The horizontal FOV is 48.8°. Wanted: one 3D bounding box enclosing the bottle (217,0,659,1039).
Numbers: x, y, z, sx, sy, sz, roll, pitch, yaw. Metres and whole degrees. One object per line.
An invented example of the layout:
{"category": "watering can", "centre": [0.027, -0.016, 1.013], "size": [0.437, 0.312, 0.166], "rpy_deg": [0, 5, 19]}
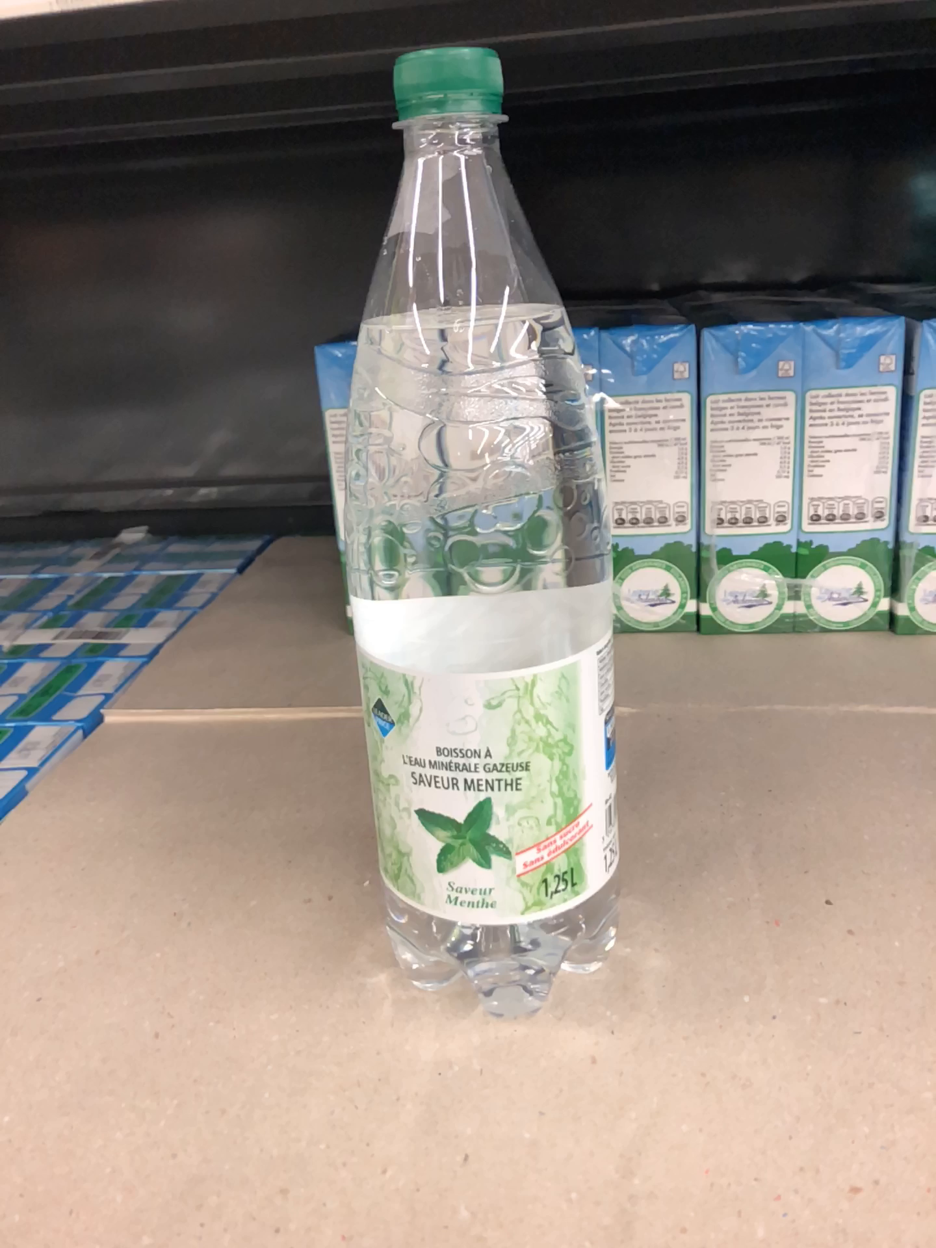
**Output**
{"category": "bottle", "centre": [0.008, -0.022, 0.334], "size": [0.100, 0.299, 0.090], "rpy_deg": [0, 20, 12]}
